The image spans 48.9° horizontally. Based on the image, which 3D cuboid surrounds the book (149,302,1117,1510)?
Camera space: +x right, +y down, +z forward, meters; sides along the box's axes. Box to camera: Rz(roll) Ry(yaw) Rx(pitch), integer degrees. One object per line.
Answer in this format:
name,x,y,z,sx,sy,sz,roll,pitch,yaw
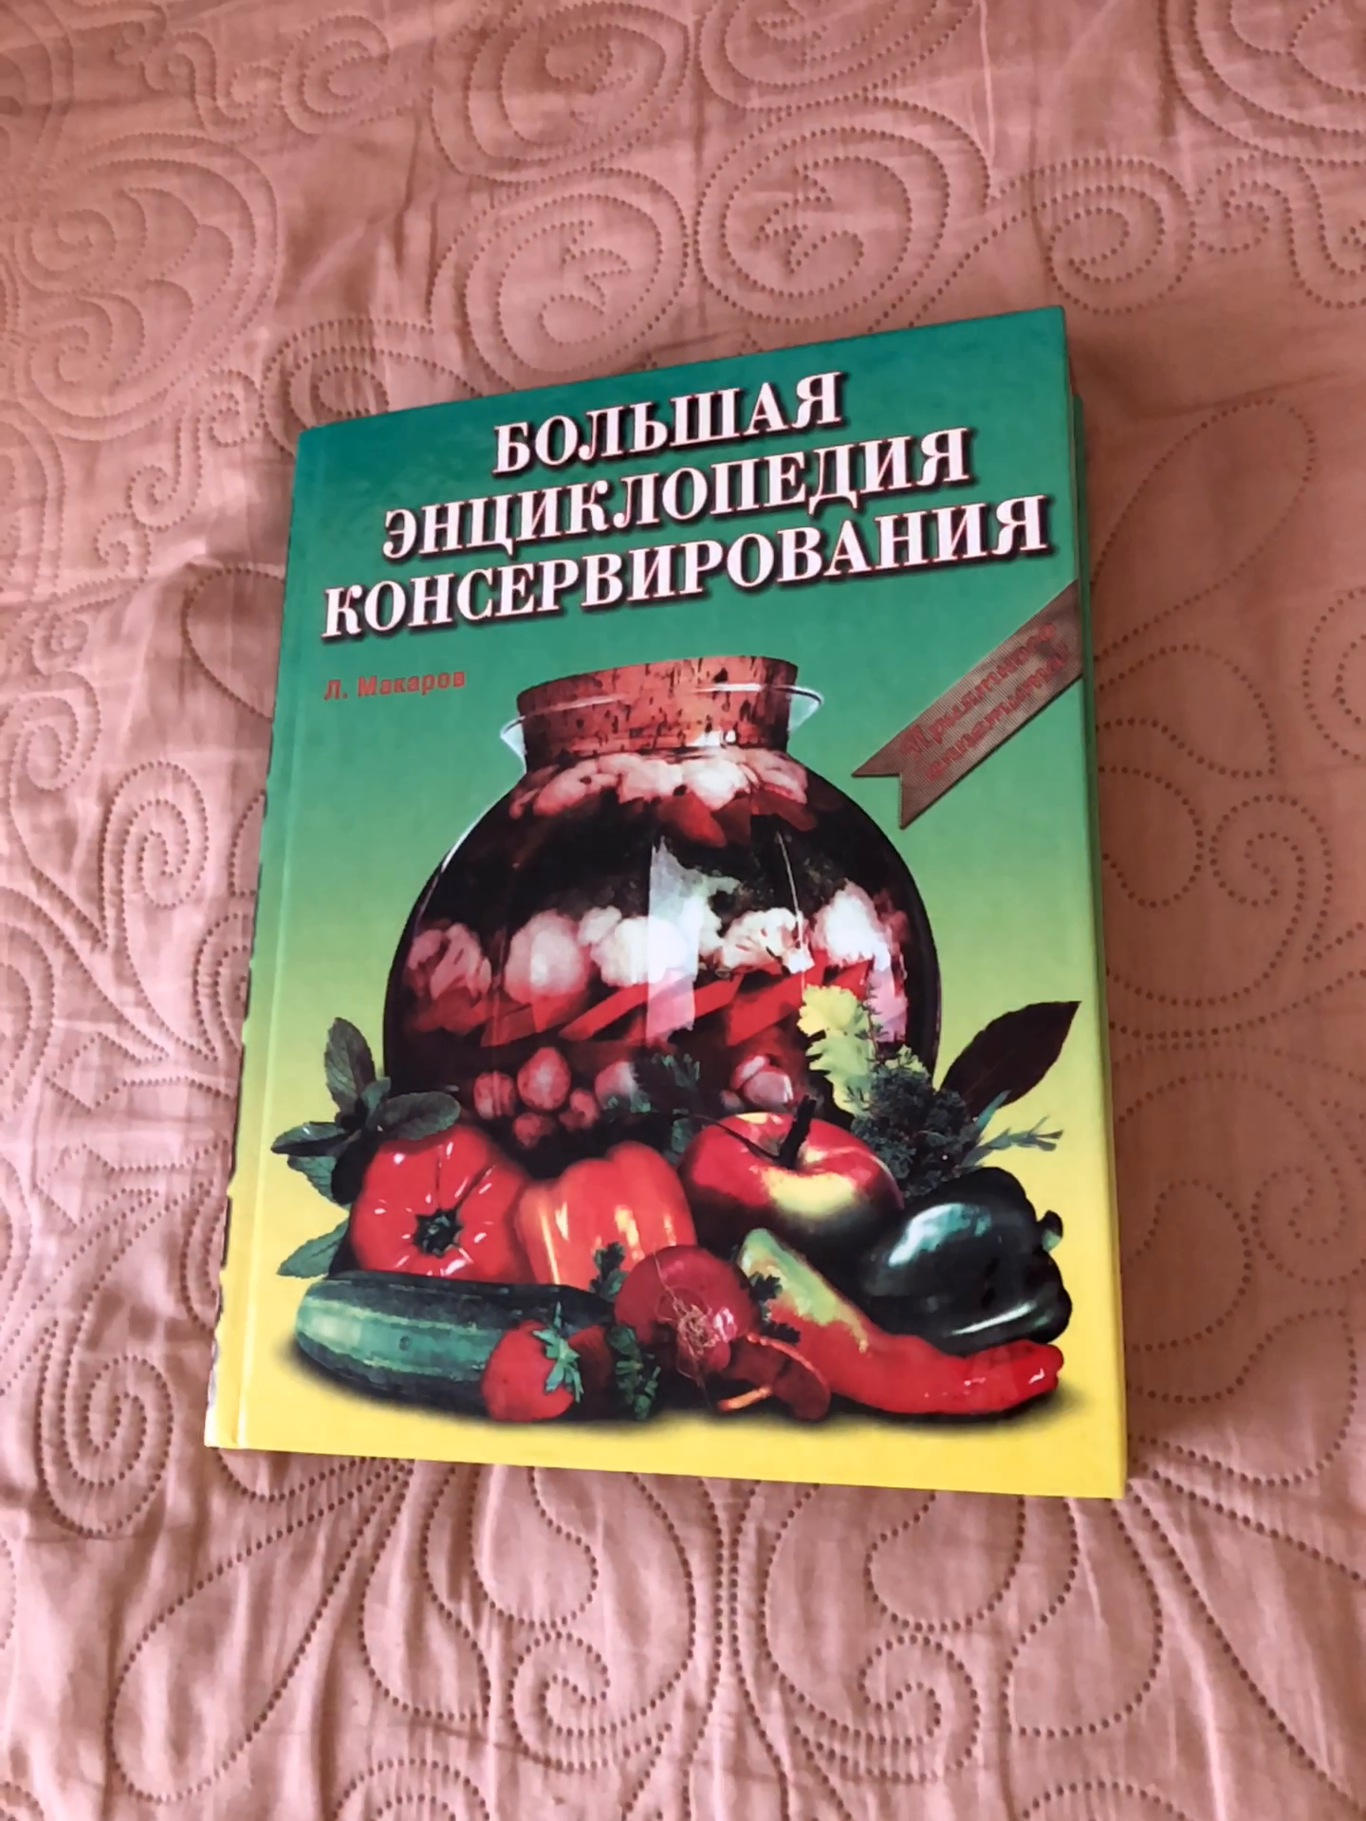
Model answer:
book,-0.011,-0.003,0.379,0.216,0.050,0.273,-3,74,16
